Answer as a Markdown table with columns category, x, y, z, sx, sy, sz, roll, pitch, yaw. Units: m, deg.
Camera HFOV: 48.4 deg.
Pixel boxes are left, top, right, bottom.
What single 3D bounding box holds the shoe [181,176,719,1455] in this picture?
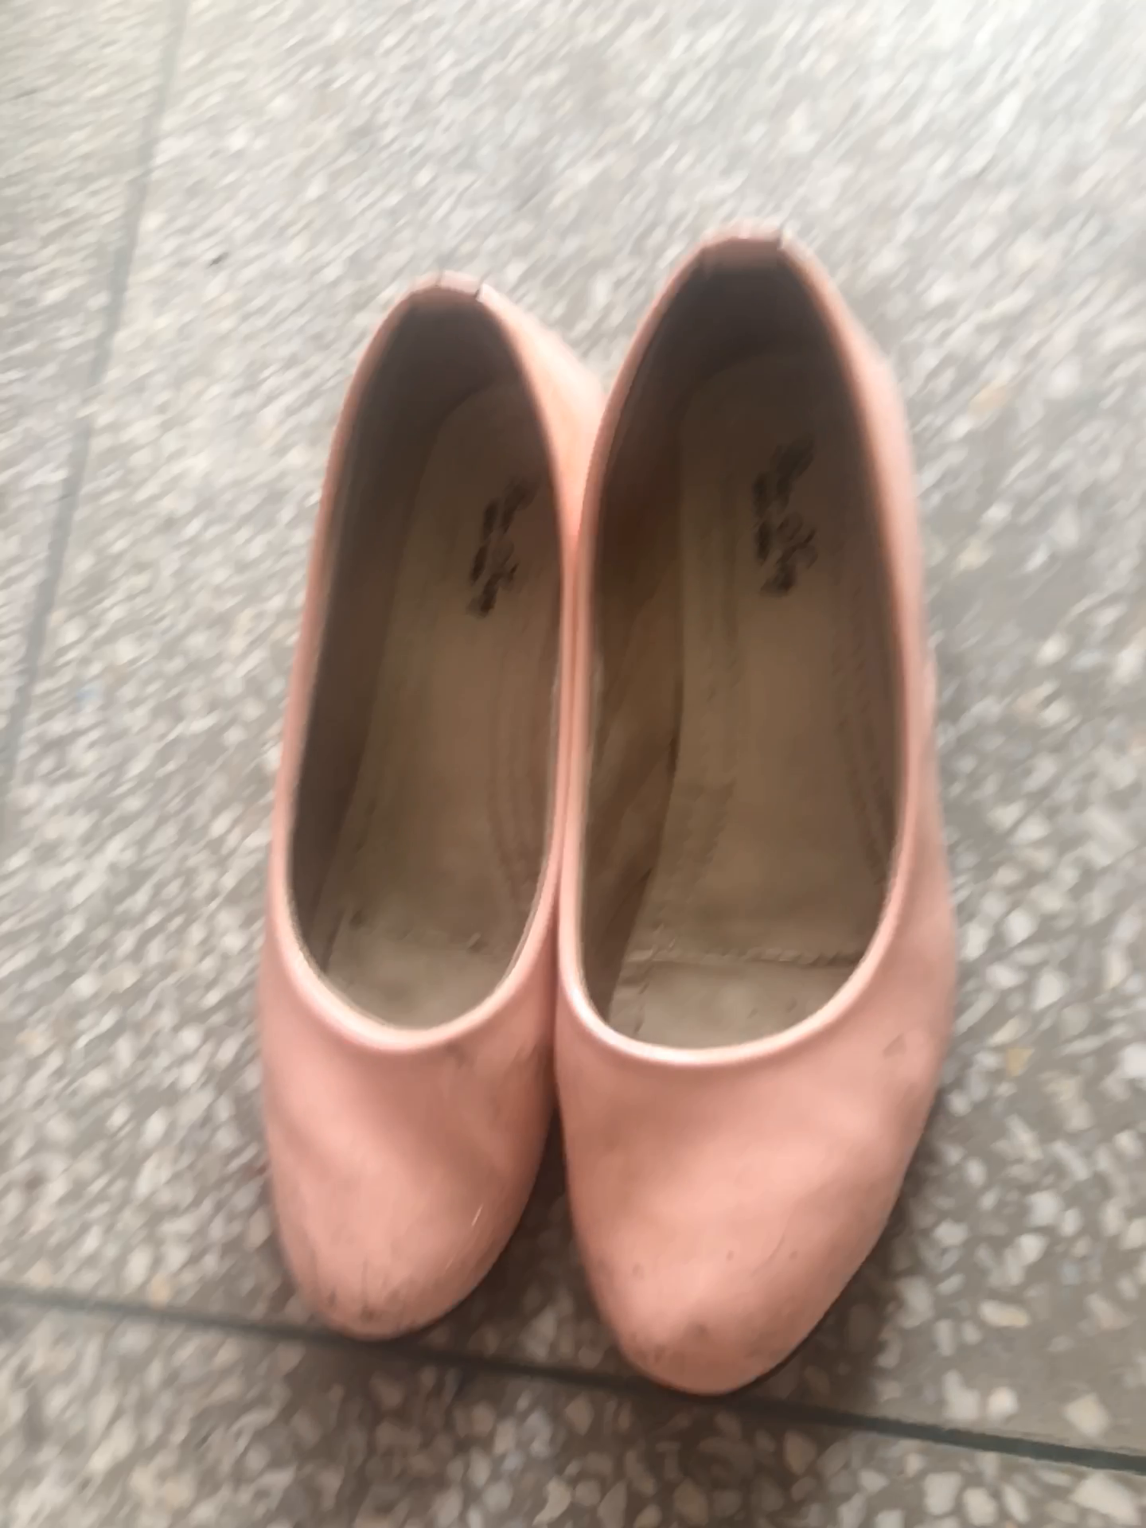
| category | x | y | z | sx | sy | sz | roll | pitch | yaw |
| --- | --- | --- | --- | --- | --- | --- | --- | --- | --- |
| shoe | -0.024 | 0.007 | 0.307 | 0.090 | 0.070 | 0.260 | 2 | 86 | 20 |

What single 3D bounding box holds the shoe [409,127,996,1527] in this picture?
| category | x | y | z | sx | sy | sz | roll | pitch | yaw |
| --- | --- | --- | --- | --- | --- | --- | --- | --- | --- |
| shoe | 0.037 | 0.007 | 0.276 | 0.090 | 0.070 | 0.260 | 2 | 78 | 20 |
